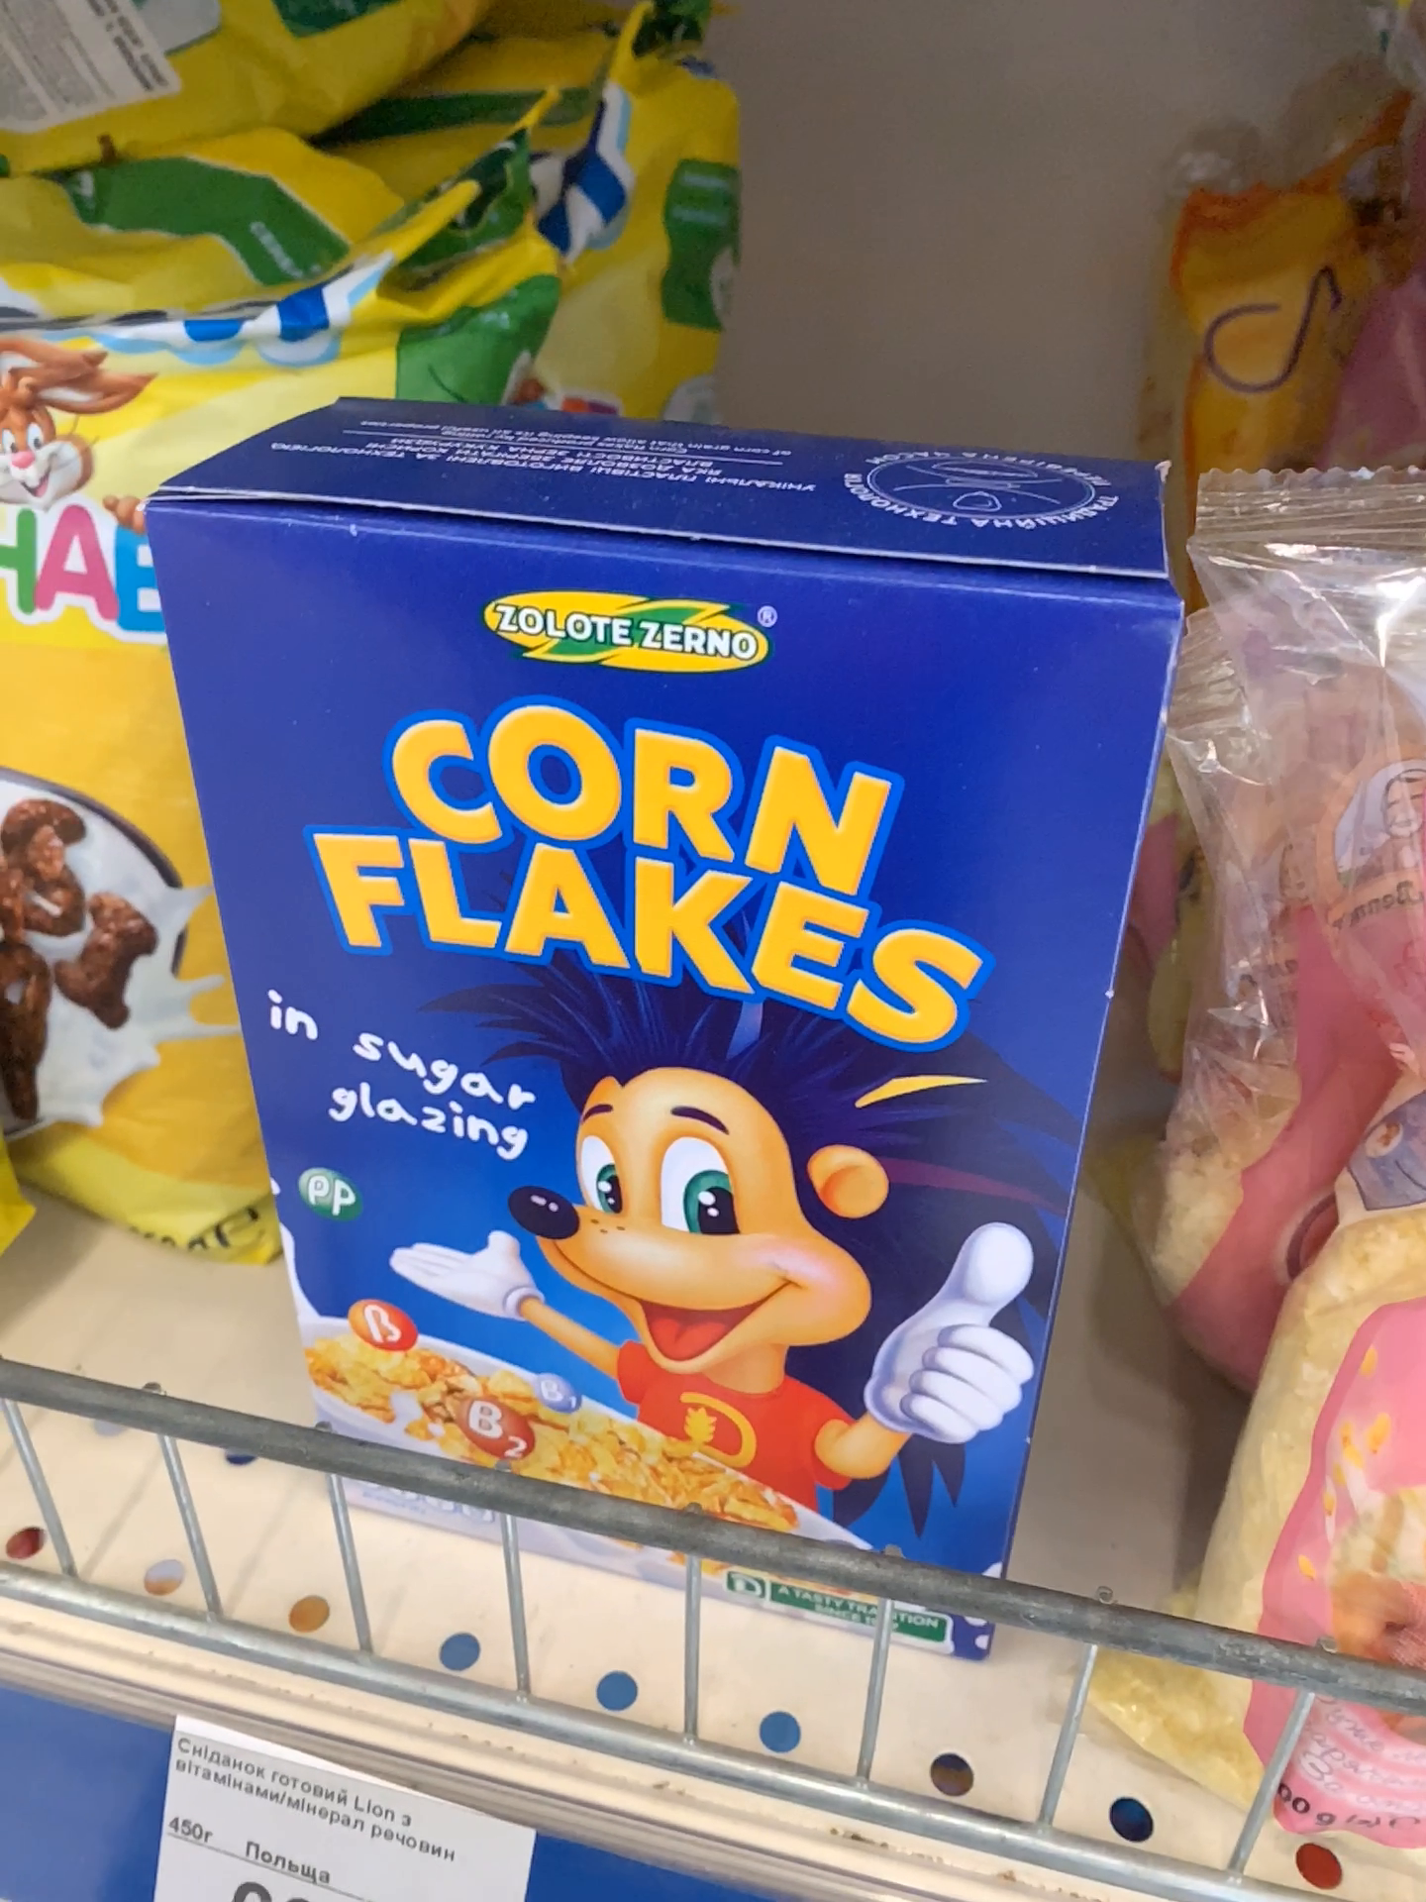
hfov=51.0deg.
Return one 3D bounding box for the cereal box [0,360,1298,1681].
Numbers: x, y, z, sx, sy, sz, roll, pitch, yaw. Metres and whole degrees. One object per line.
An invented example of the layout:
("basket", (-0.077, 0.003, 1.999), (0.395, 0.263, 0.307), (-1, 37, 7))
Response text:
("cereal box", (-0.008, 0.013, 0.202), (0.130, 0.159, 0.050), (9, 34, 12))
